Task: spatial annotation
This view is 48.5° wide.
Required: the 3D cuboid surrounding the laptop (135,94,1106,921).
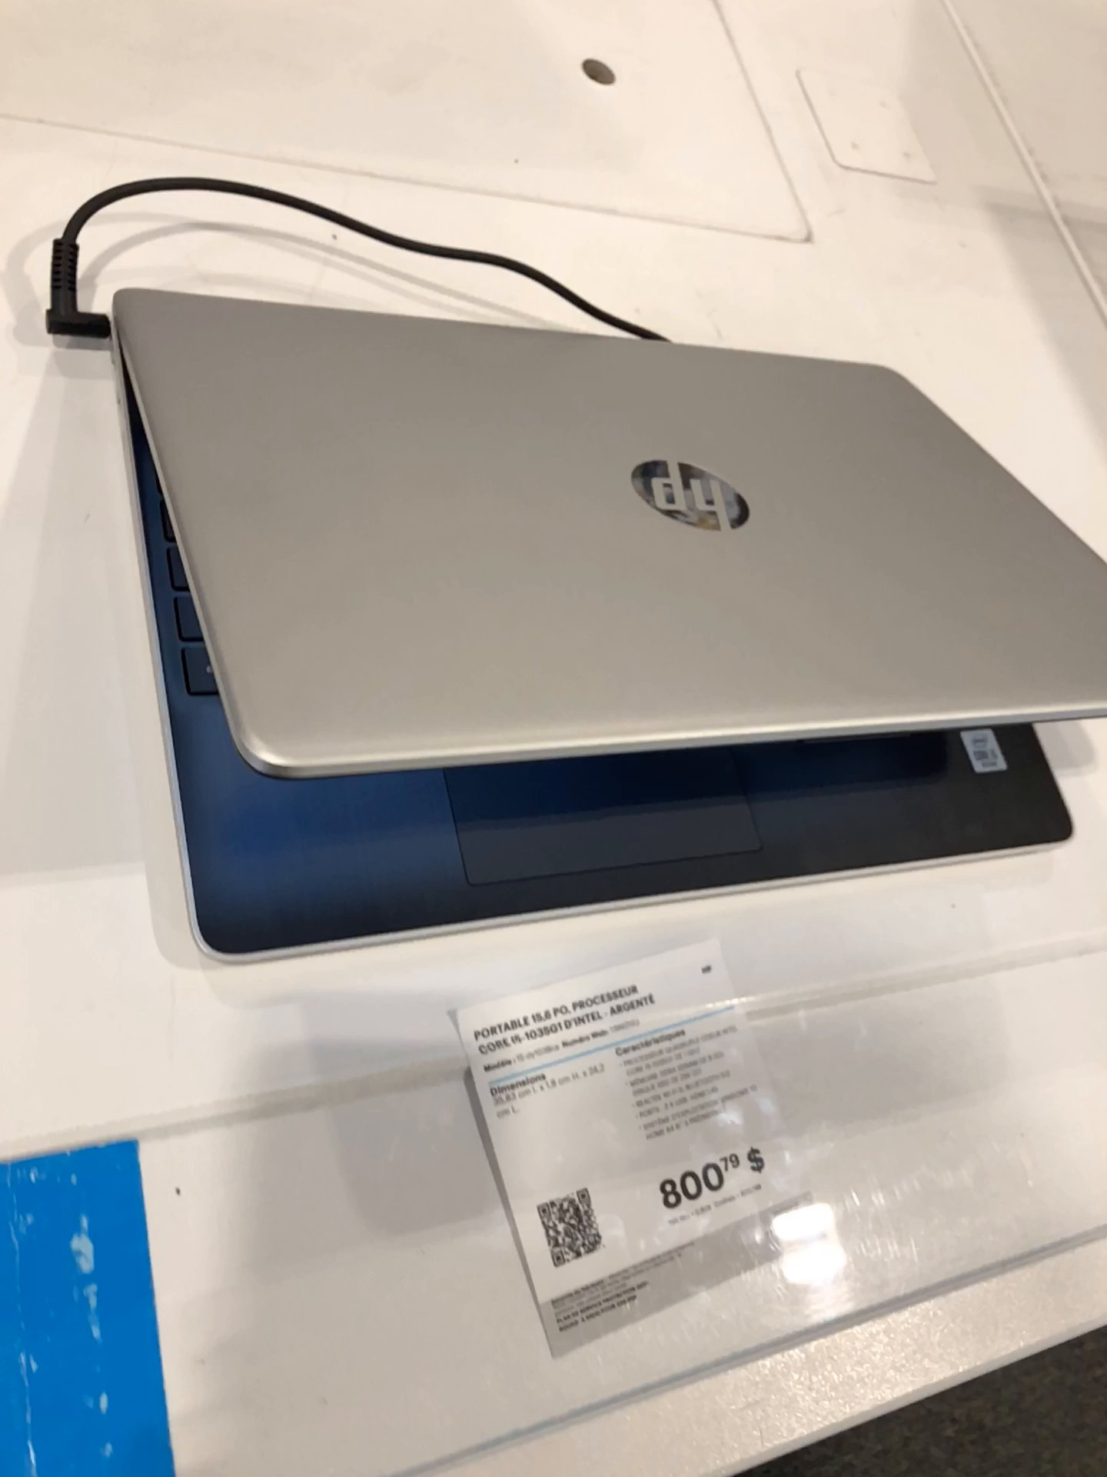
[{"bbox_3d":[0.050,-0.078,0.428,0.342,0.086,0.229,-3,65,-25],"label":"laptop"}]
